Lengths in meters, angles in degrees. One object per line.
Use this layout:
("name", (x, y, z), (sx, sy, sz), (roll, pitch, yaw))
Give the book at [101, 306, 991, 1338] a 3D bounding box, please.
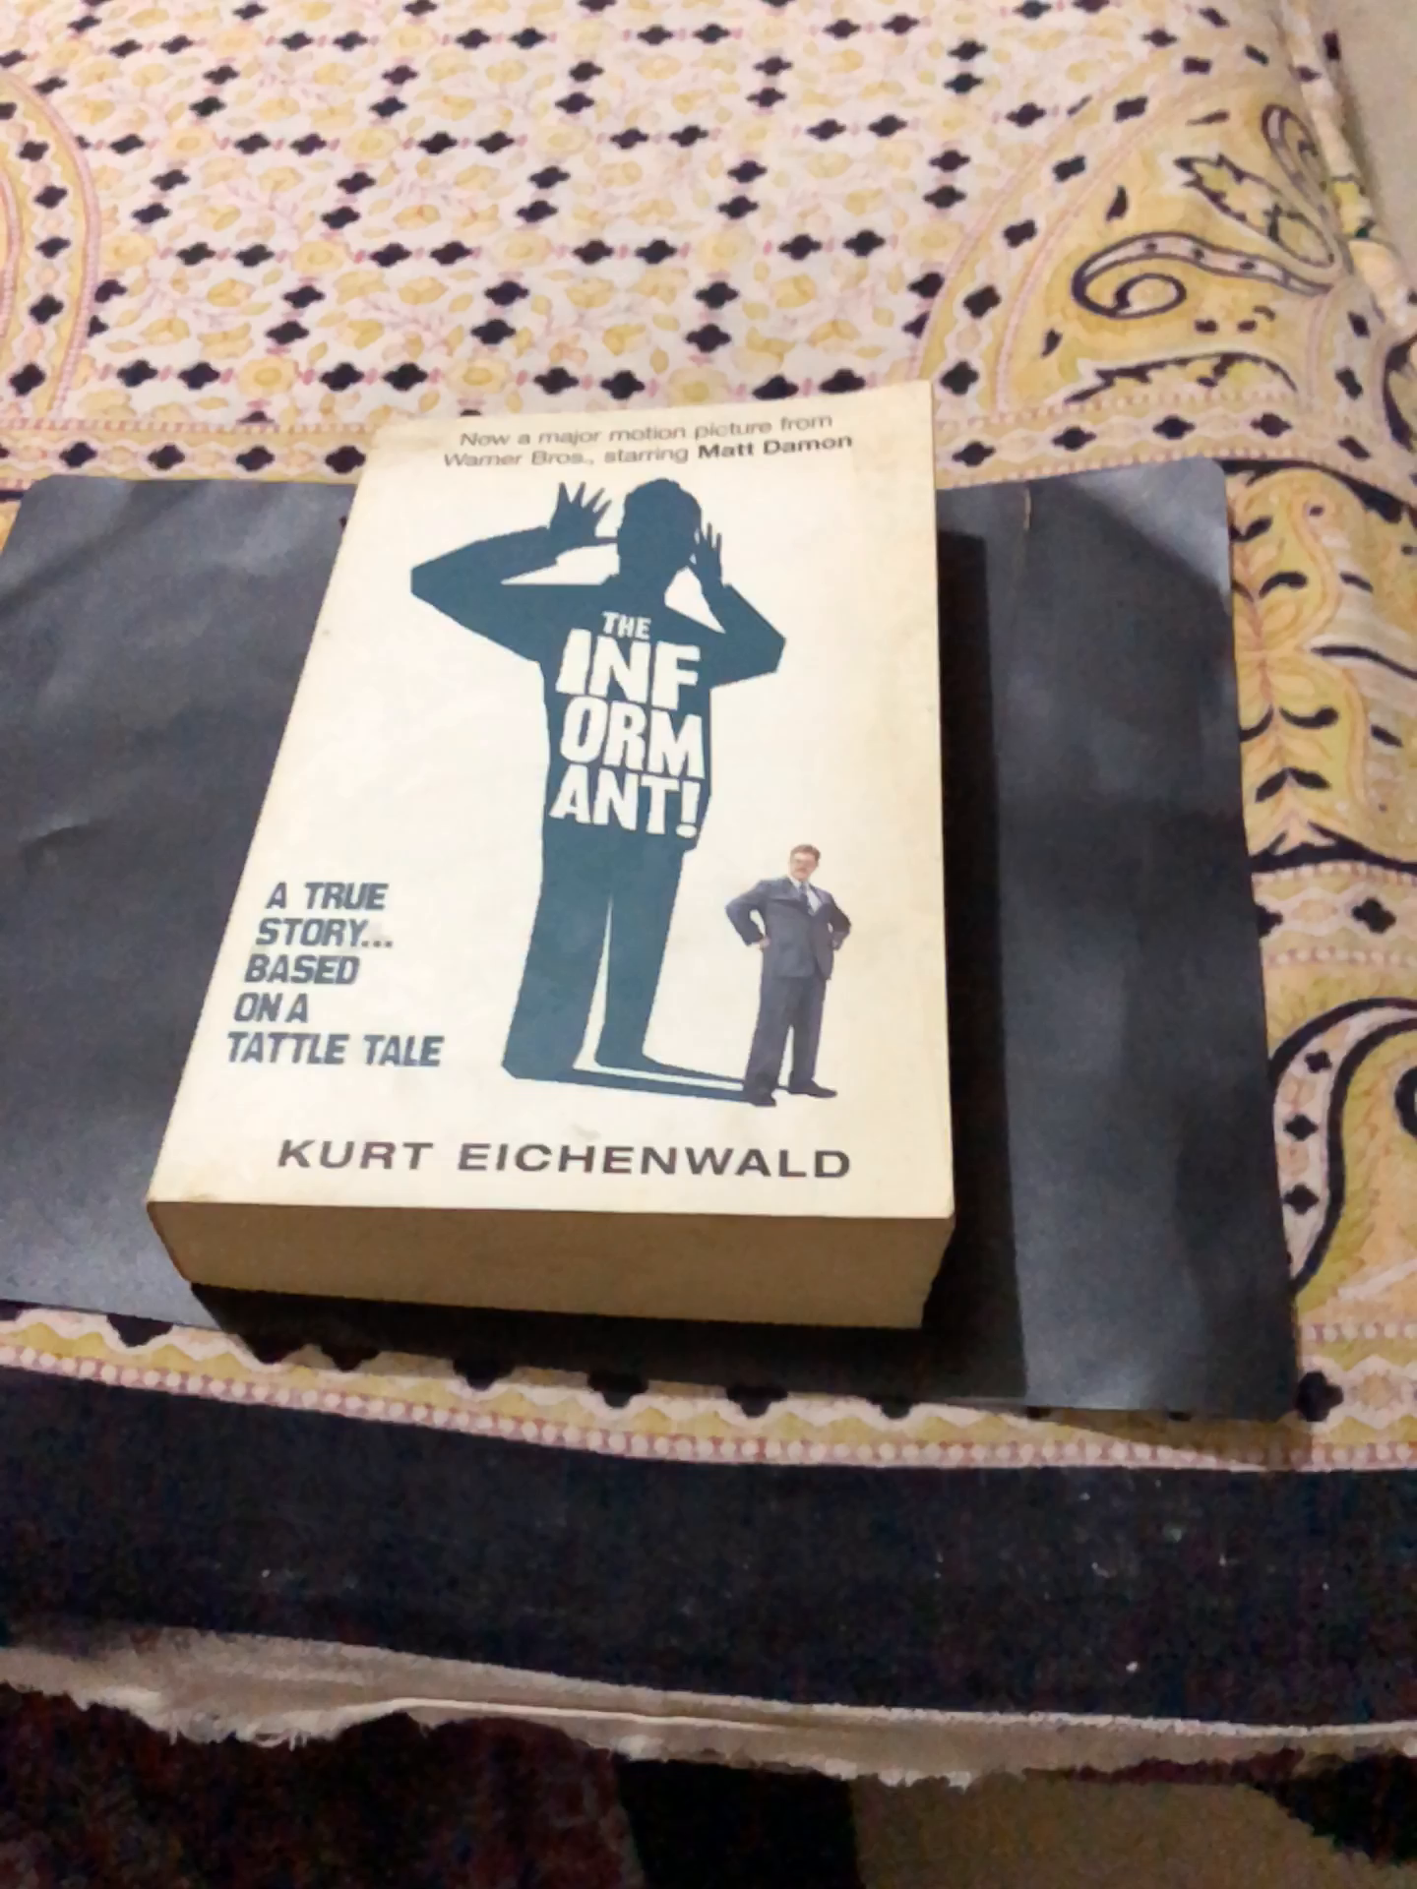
("book", (-0.017, -0.041, 0.330), (0.140, 0.050, 0.230), (1, 55, 7))
